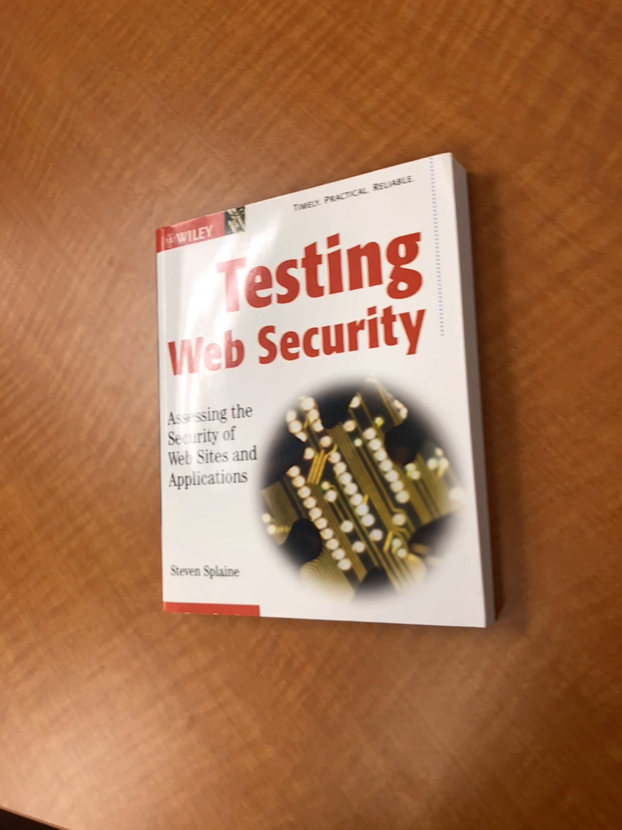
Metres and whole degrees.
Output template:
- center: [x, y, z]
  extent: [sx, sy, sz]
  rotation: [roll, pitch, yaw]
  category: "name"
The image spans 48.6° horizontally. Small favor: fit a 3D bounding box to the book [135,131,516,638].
- center: [-0.004, -0.009, 0.367]
  extent: [0.200, 0.030, 0.230]
  rotation: [-5, 83, 26]
  category: "book"
